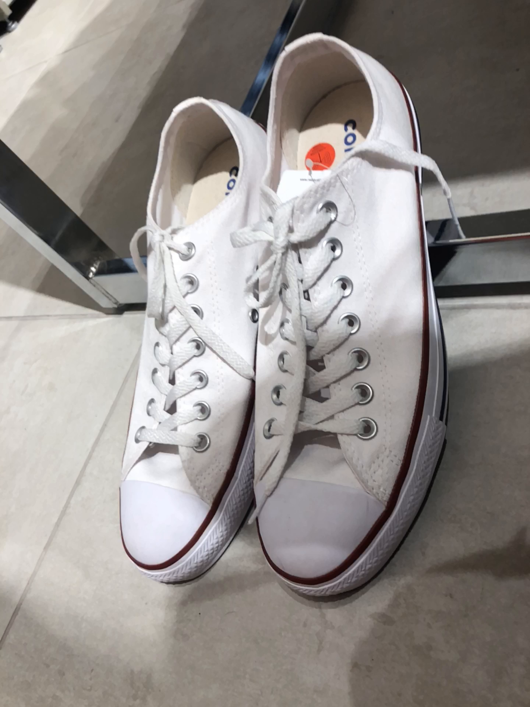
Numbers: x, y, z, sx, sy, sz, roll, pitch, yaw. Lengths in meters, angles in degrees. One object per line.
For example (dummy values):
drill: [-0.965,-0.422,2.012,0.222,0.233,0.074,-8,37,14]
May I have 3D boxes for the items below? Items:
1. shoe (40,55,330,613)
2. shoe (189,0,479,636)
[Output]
shoe: [-0.045,-0.013,0.368,0.110,0.090,0.290,1,80,36]
shoe: [0.044,-0.027,0.312,0.100,0.090,0.290,-1,79,35]
